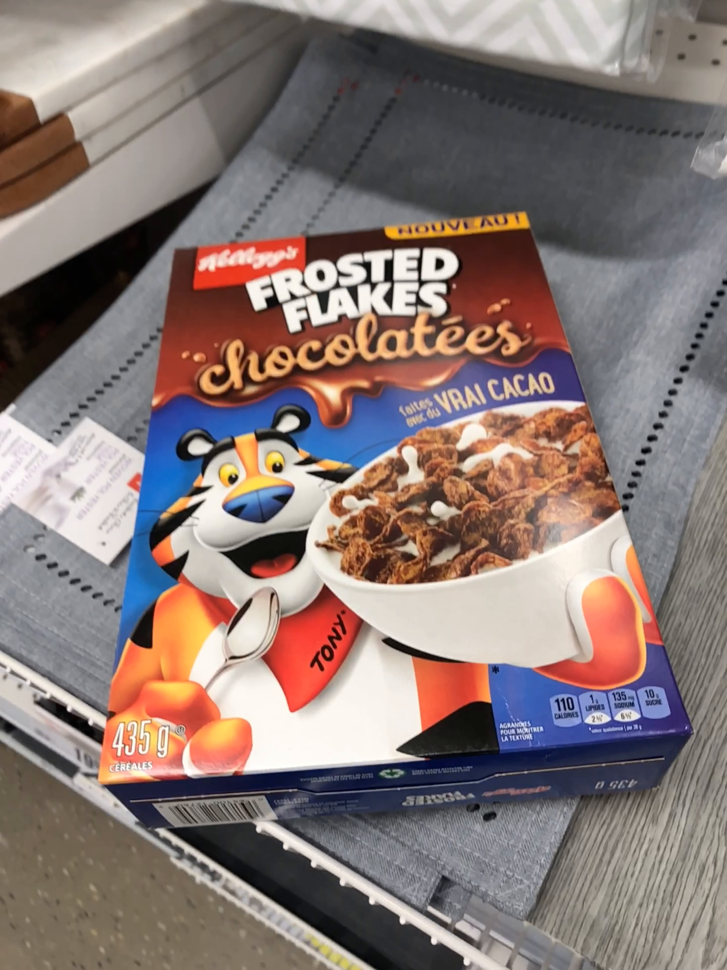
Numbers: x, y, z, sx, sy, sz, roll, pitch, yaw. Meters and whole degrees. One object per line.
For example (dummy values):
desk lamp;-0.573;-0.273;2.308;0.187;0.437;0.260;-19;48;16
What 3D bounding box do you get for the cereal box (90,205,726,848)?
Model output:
cereal box;0.007;-0.008;0.393;0.210;0.070;0.311;-6;50;1
